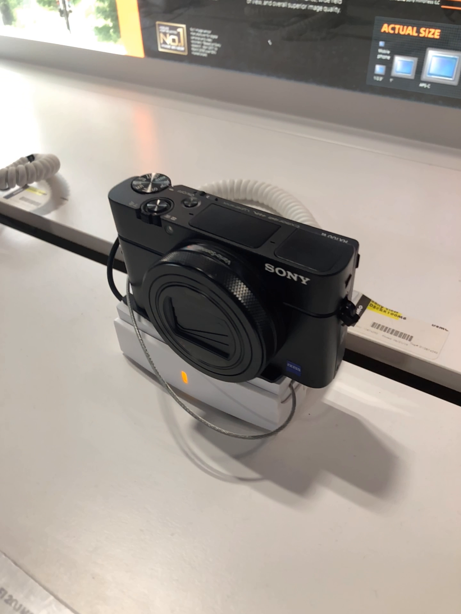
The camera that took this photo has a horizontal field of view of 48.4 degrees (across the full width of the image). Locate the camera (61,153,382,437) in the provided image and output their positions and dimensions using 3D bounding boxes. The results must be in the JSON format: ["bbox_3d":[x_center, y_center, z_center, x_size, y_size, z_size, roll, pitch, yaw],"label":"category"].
[{"bbox_3d":[-0.006,-0.009,0.203,0.110,0.070,0.040,23,46,26],"label":"camera"}]
